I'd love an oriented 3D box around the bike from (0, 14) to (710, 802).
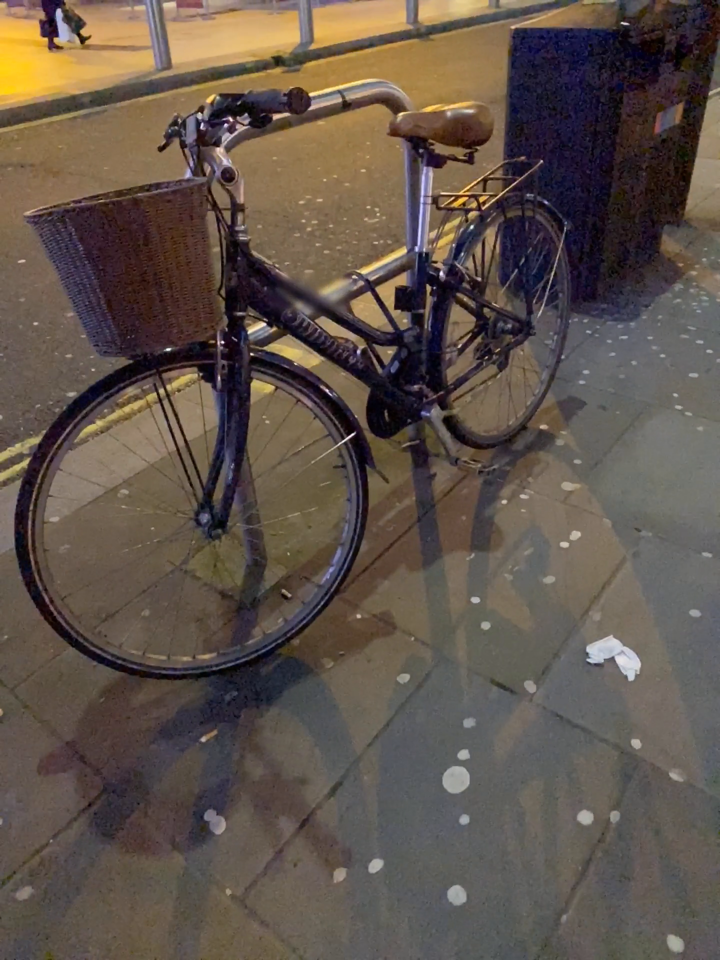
[{"bbox_3d":[-0.010,-0.352,1.731,0.661,1.063,1.716,28,48,36],"label":"bike"}]
